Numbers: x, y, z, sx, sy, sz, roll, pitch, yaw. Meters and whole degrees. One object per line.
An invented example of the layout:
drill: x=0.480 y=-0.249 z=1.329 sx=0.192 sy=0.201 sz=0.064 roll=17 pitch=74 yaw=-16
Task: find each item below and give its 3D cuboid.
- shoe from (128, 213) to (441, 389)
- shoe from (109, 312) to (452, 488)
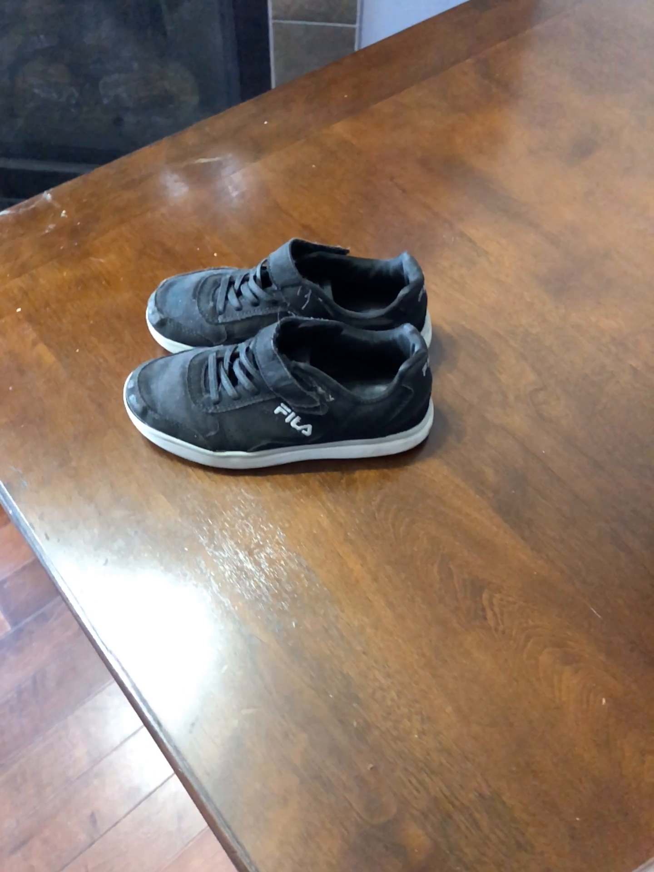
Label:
shoe: x=-0.028 y=-0.100 z=0.543 sx=0.210 sy=0.080 sz=0.090 roll=3 pitch=58 yaw=0
shoe: x=-0.030 y=-0.024 z=0.503 sx=0.210 sy=0.080 sz=0.090 roll=-1 pitch=58 yaw=-2
